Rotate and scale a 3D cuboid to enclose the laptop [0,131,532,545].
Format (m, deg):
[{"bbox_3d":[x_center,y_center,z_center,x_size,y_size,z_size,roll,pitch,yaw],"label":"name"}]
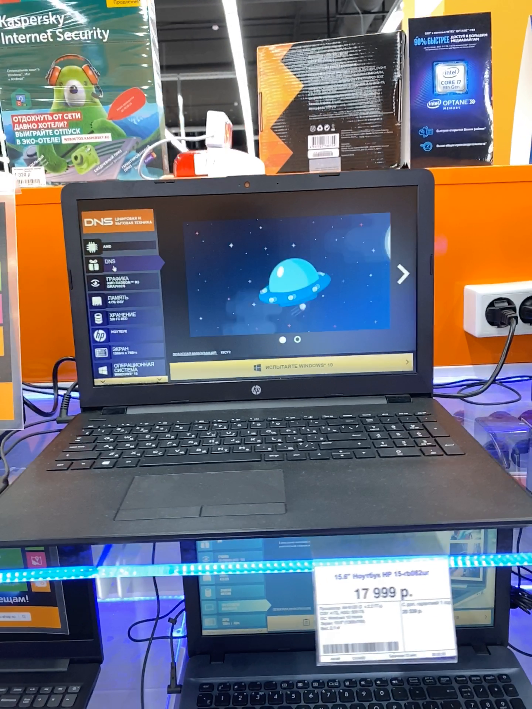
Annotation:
[{"bbox_3d":[-0.017,-0.034,0.449,0.369,0.231,0.272,-2,13,-1],"label":"laptop"}]
